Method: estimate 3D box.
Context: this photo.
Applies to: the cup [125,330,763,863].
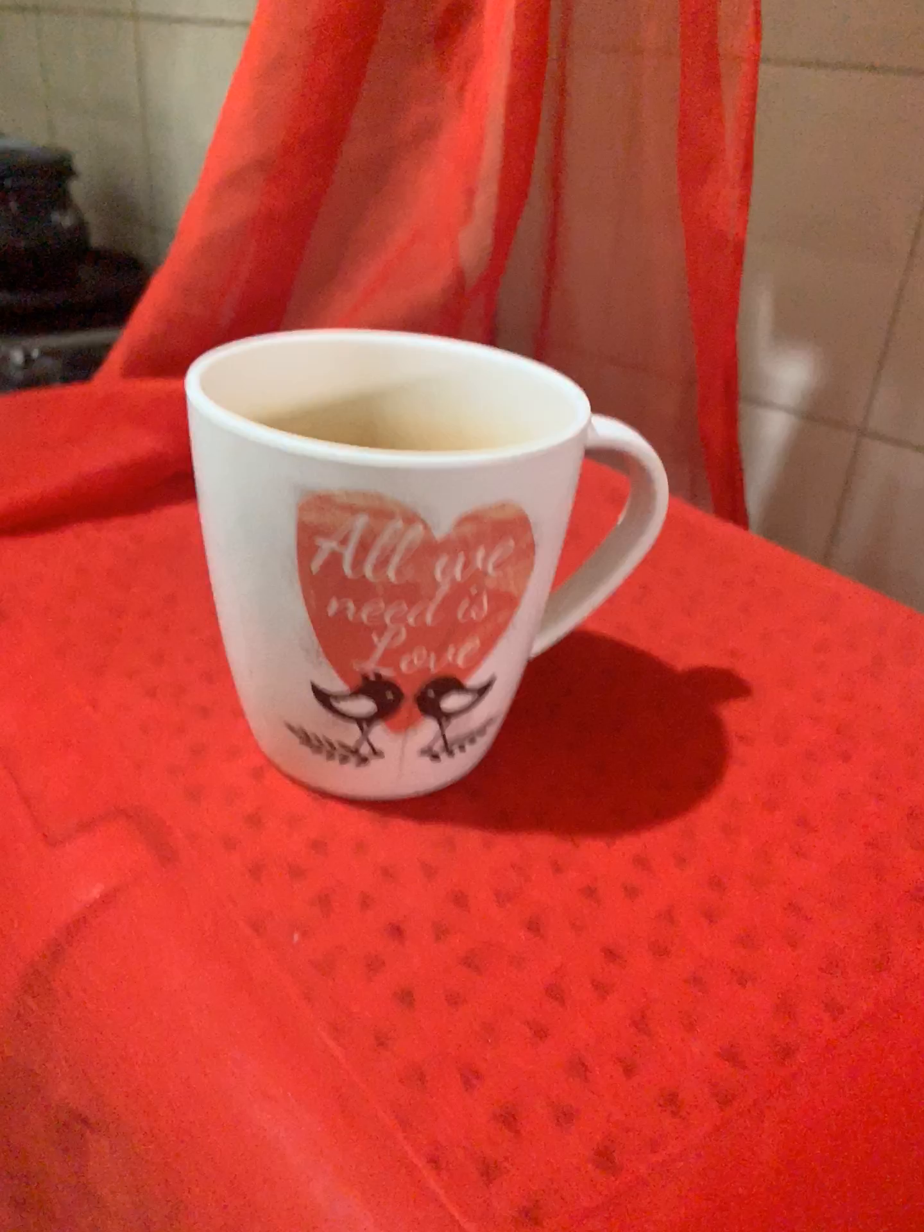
[{"bbox_3d":[-0.012,-0.013,0.220,0.110,0.079,0.091,-4,31,-14],"label":"cup"}]
